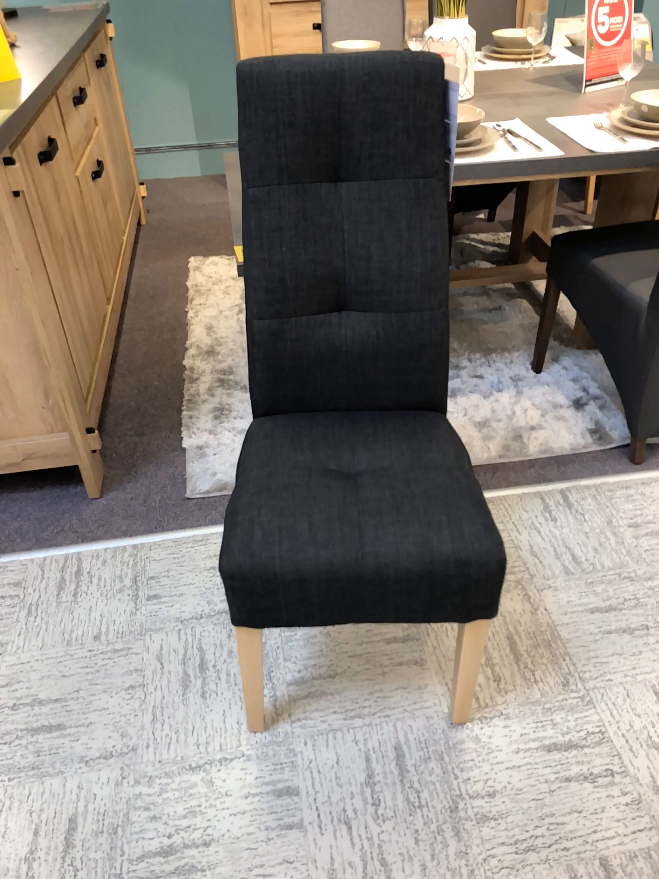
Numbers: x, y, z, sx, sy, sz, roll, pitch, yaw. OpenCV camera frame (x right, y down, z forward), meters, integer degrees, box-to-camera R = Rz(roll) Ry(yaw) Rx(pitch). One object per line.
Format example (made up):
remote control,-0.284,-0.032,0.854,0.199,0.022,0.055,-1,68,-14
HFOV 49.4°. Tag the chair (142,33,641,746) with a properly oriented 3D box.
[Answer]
chair,0.064,-0.055,1.240,0.480,1.043,0.604,-3,37,-1
